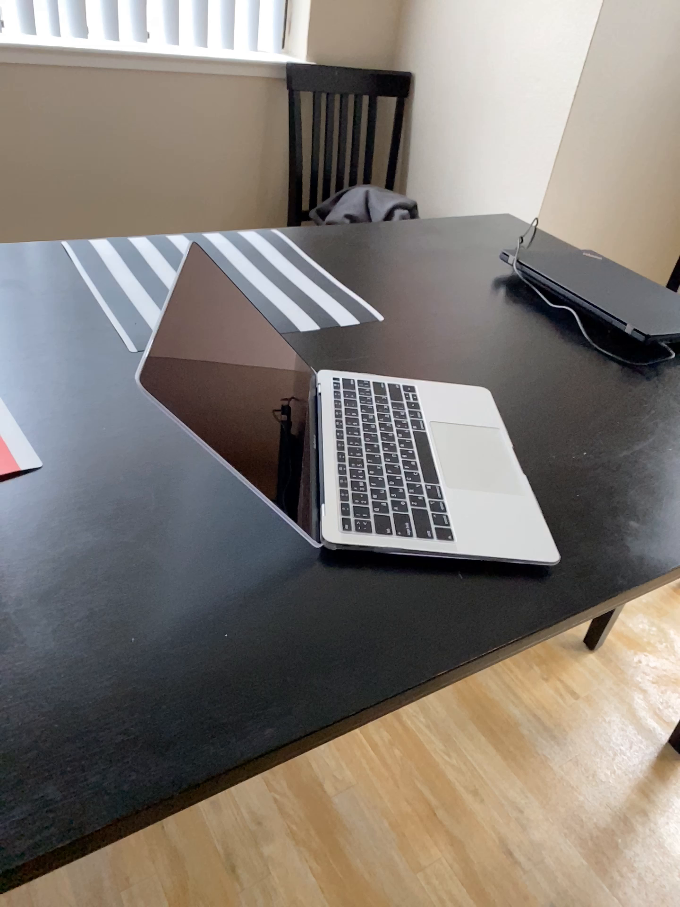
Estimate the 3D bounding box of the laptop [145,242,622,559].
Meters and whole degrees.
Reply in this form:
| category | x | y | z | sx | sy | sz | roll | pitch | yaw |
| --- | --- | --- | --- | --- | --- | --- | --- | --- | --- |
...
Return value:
| category | x | y | z | sx | sy | sz | roll | pitch | yaw |
| --- | --- | --- | --- | --- | --- | --- | --- | --- | --- |
| laptop | 0.024 | -0.065 | 0.673 | 0.361 | 0.139 | 0.298 | 5 | 36 | -7 |
